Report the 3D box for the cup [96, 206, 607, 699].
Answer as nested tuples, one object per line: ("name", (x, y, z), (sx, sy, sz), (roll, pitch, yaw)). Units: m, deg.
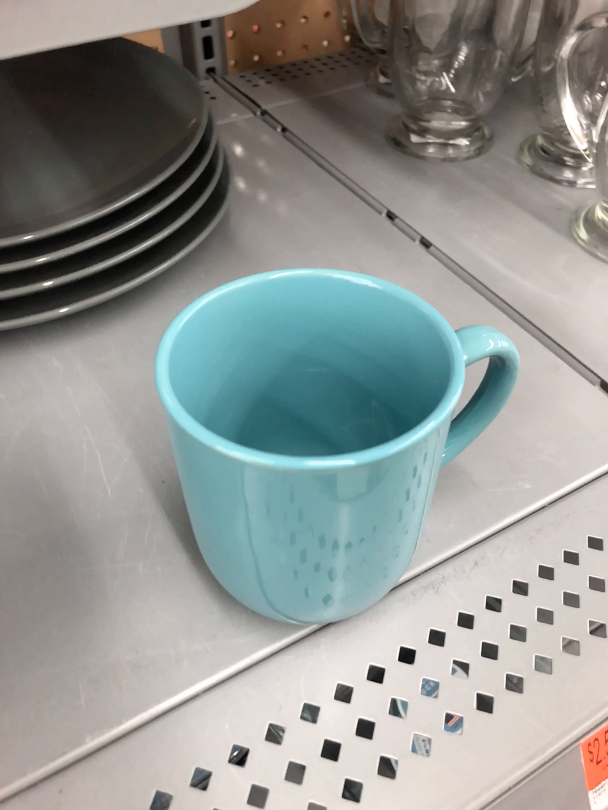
("cup", (0.011, 0.010, 0.226), (0.114, 0.091, 0.091), (-24, 50, -22))
